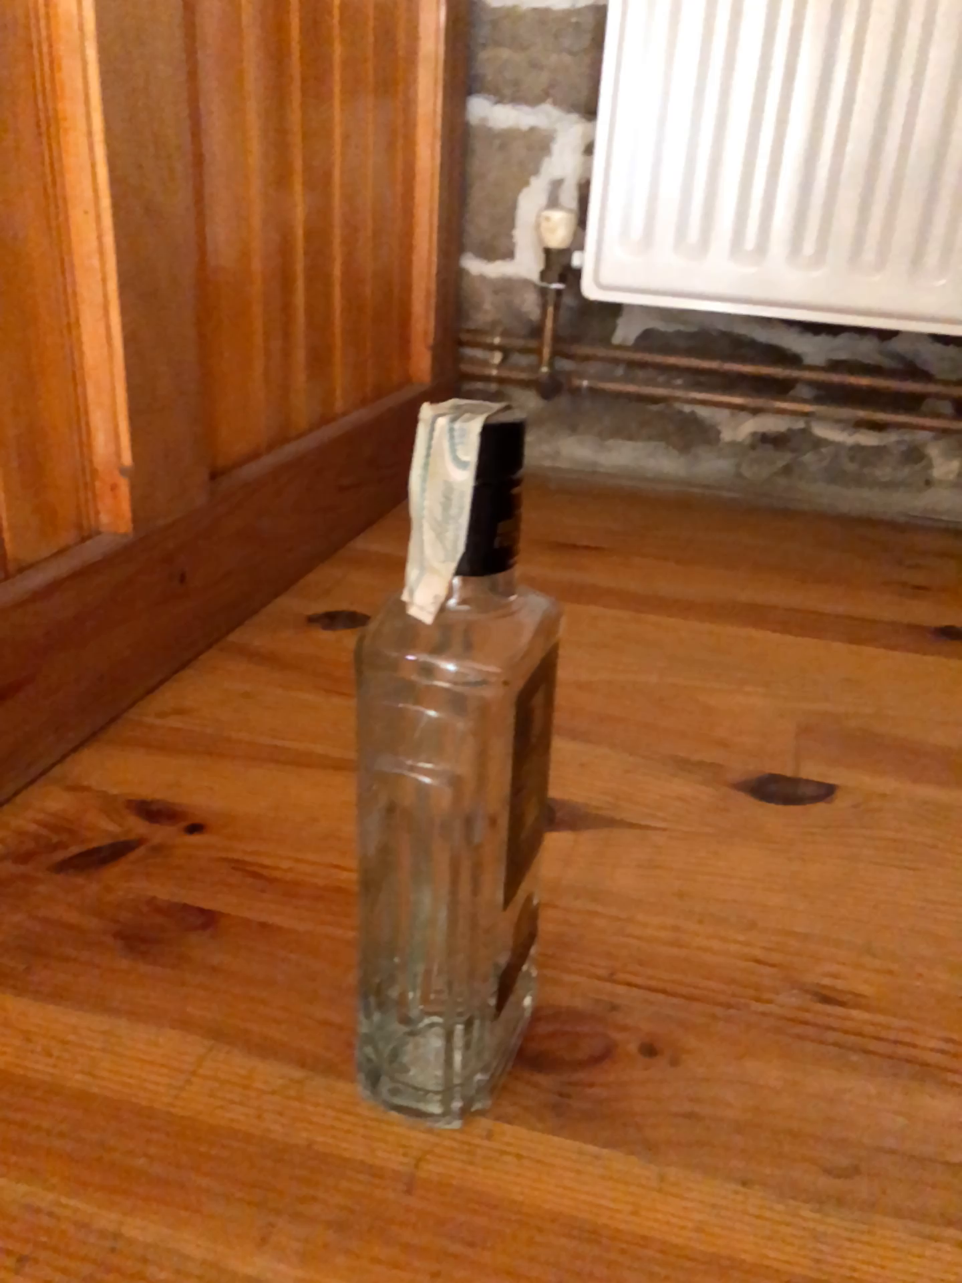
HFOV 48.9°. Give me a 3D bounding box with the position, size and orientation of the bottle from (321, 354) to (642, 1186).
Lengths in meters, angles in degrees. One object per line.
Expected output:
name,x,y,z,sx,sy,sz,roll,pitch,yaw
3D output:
bottle,-0.002,0.041,0.352,0.060,0.249,0.101,12,25,18
